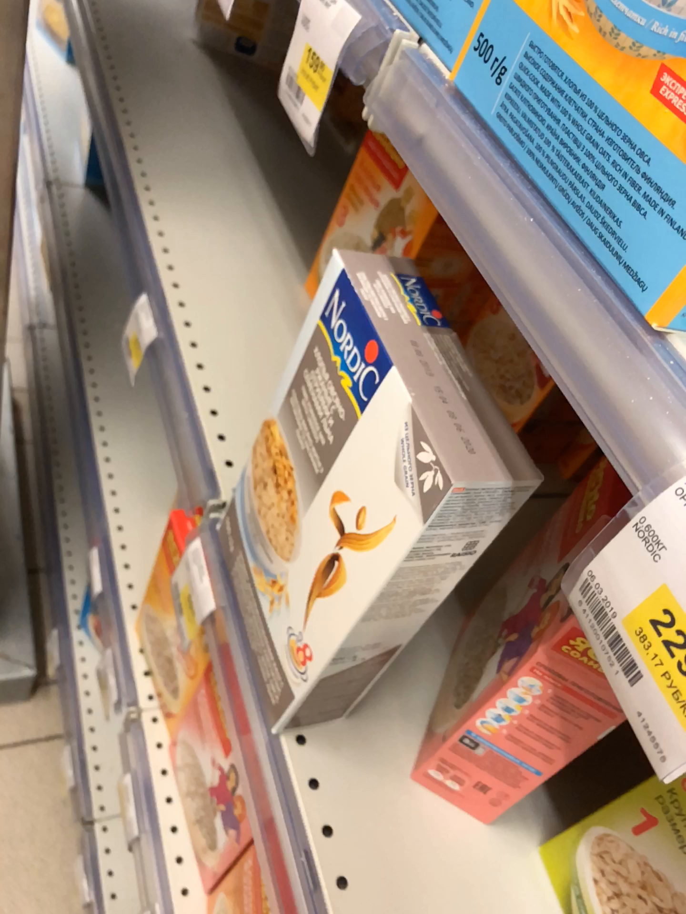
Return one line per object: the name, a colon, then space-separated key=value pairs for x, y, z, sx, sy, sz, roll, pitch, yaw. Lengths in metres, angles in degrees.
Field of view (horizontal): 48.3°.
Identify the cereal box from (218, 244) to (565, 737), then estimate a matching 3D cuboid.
cereal box: x=0.002 y=0.028 z=0.404 sx=0.050 sy=0.229 sz=0.141 roll=-1 pitch=50 yaw=-29
